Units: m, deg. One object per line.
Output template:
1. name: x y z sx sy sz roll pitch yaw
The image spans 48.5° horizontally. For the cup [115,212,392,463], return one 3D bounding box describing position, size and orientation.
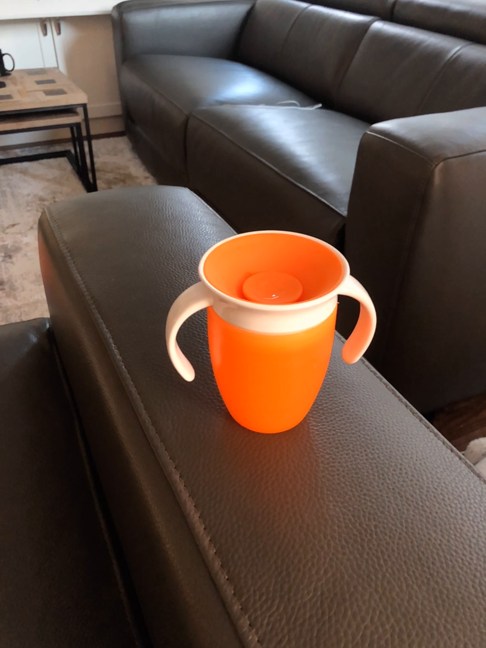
1. cup: 0.000 0.004 0.308 0.126 0.096 0.083 -8 37 -12
